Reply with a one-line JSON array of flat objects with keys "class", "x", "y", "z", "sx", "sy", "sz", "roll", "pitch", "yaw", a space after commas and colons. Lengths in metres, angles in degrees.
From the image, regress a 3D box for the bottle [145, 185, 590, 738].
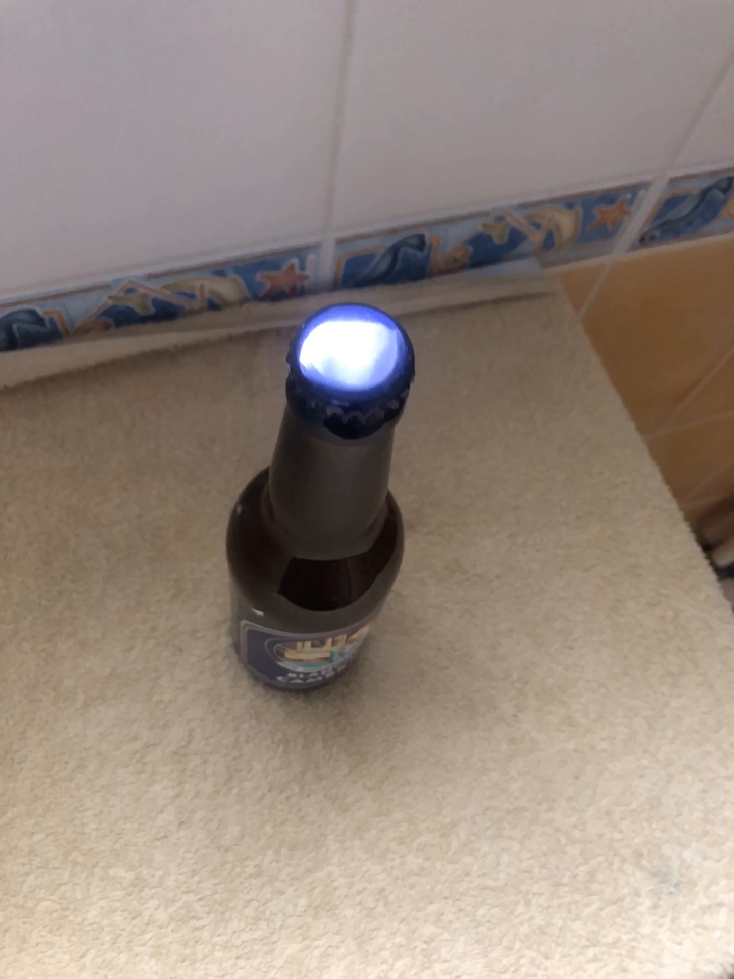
[{"class": "bottle", "x": -0.014, "y": 0.017, "z": 0.265, "sx": 0.070, "sy": 0.219, "sz": 0.070, "roll": 3, "pitch": 64, "yaw": -6}]
